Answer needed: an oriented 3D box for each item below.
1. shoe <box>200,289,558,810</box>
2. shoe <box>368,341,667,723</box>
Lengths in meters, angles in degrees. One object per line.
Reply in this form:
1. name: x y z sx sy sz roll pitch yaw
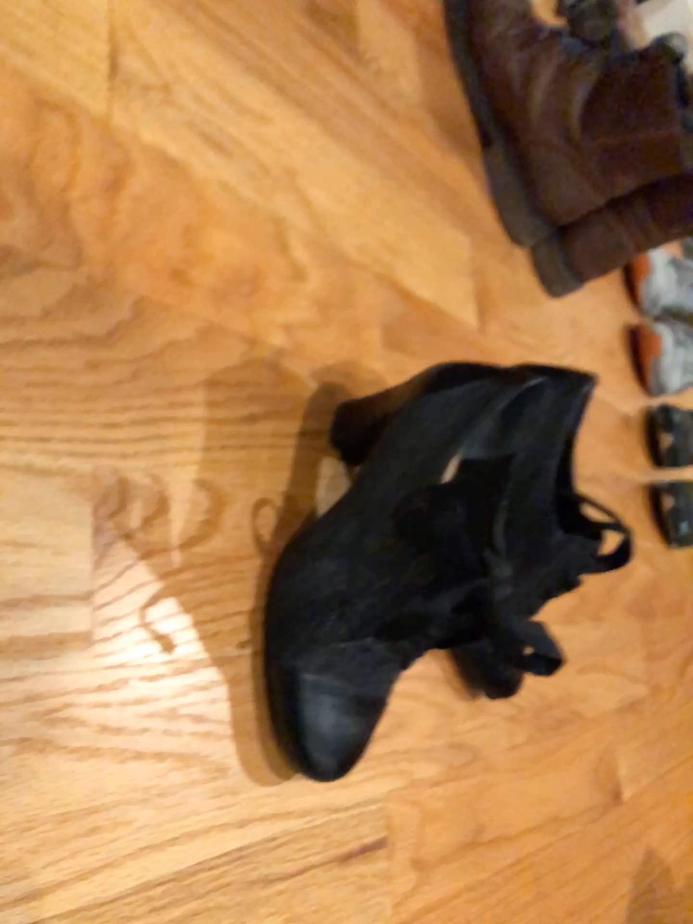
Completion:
1. shoe: 0.028 0.045 0.393 0.093 0.125 0.223 38 51 -42
2. shoe: 0.113 0.045 0.511 0.088 0.125 0.223 -13 90 -55
